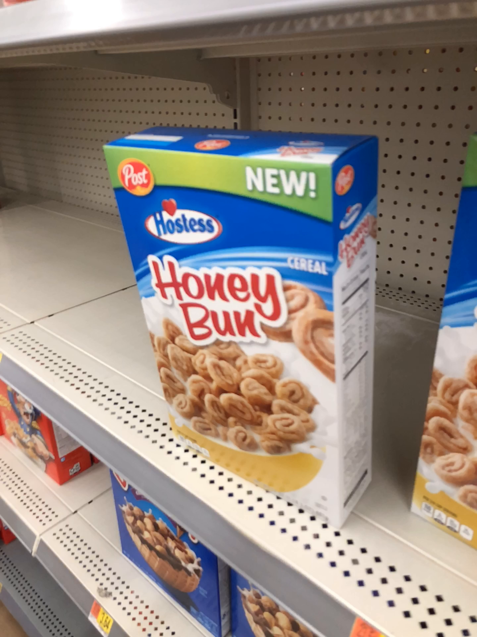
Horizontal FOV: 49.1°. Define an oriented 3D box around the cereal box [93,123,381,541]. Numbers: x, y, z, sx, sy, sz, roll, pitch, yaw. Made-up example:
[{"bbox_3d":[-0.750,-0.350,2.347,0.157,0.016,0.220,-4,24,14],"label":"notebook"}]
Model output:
[{"bbox_3d":[0.005,0.011,0.427,0.200,0.309,0.060,17,38,36],"label":"cereal box"}]
